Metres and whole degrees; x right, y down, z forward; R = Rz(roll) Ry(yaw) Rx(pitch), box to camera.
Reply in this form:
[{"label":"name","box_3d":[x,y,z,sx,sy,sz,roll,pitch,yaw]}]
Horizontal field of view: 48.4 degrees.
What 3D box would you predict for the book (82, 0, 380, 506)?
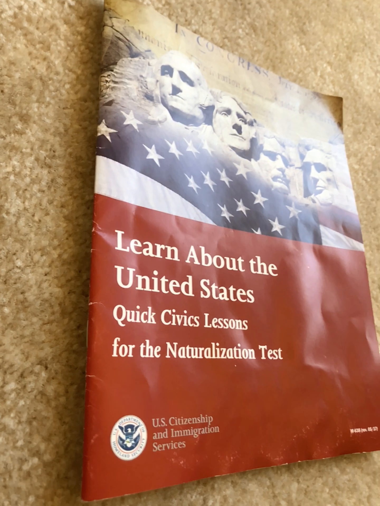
[{"label":"book","box_3d":[0.044,-0.011,0.270,0.209,0.028,0.273,9,69,-31]}]
